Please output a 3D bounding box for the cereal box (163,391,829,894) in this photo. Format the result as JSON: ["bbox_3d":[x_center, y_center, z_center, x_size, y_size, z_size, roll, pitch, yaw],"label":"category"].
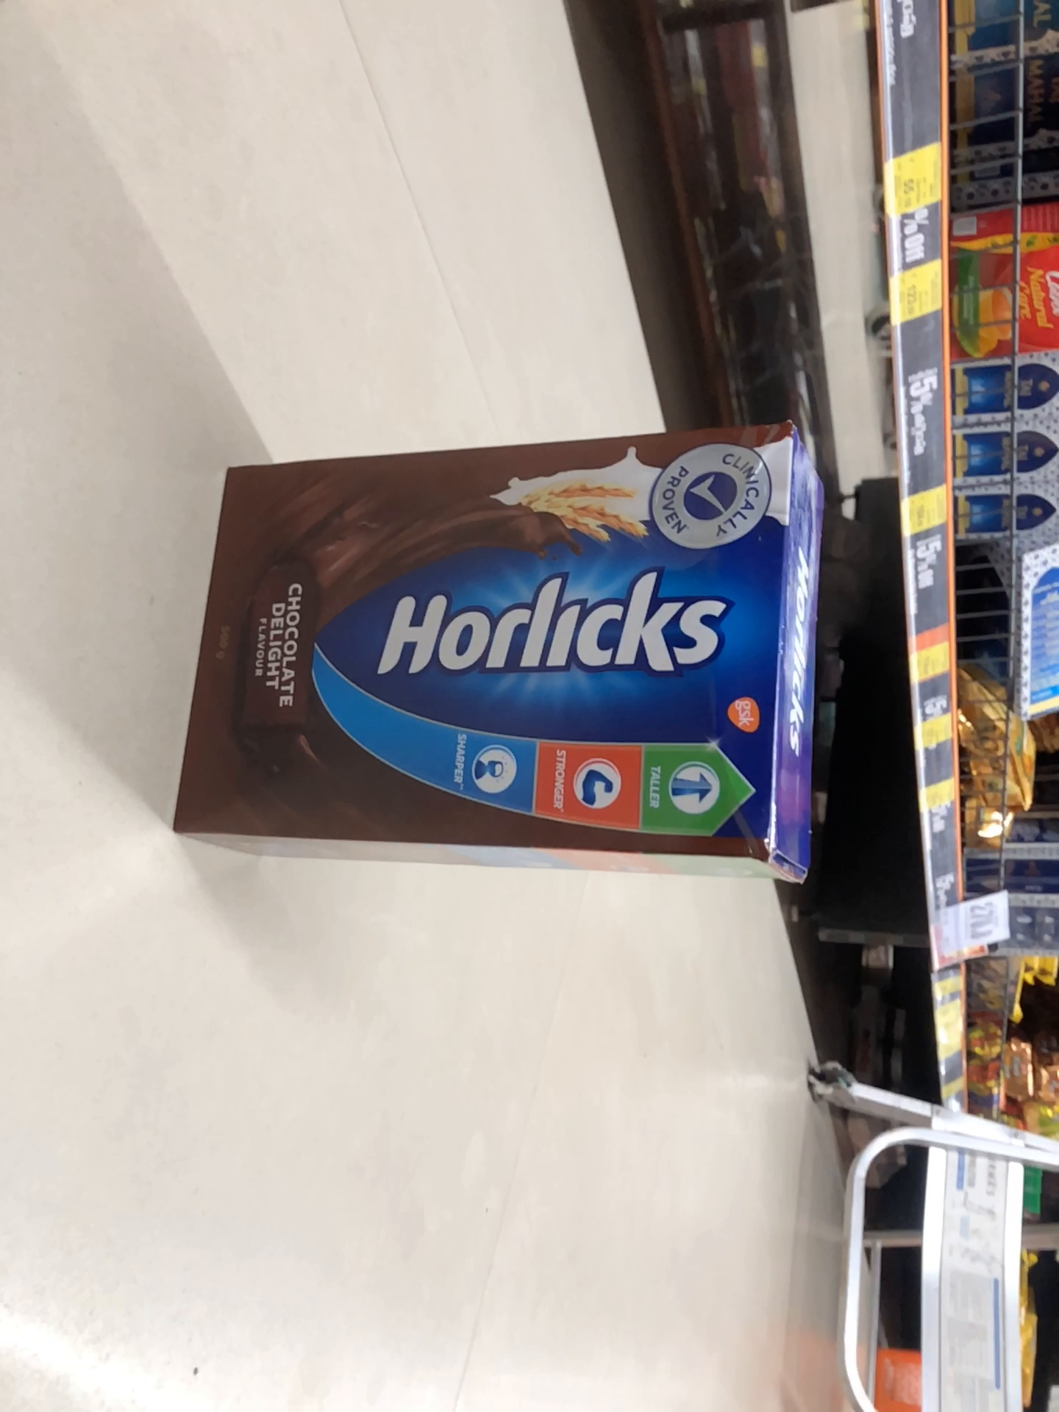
[{"bbox_3d":[-0.008,-0.016,0.388,0.060,0.199,0.140,38,55,-65],"label":"cereal box"}]
